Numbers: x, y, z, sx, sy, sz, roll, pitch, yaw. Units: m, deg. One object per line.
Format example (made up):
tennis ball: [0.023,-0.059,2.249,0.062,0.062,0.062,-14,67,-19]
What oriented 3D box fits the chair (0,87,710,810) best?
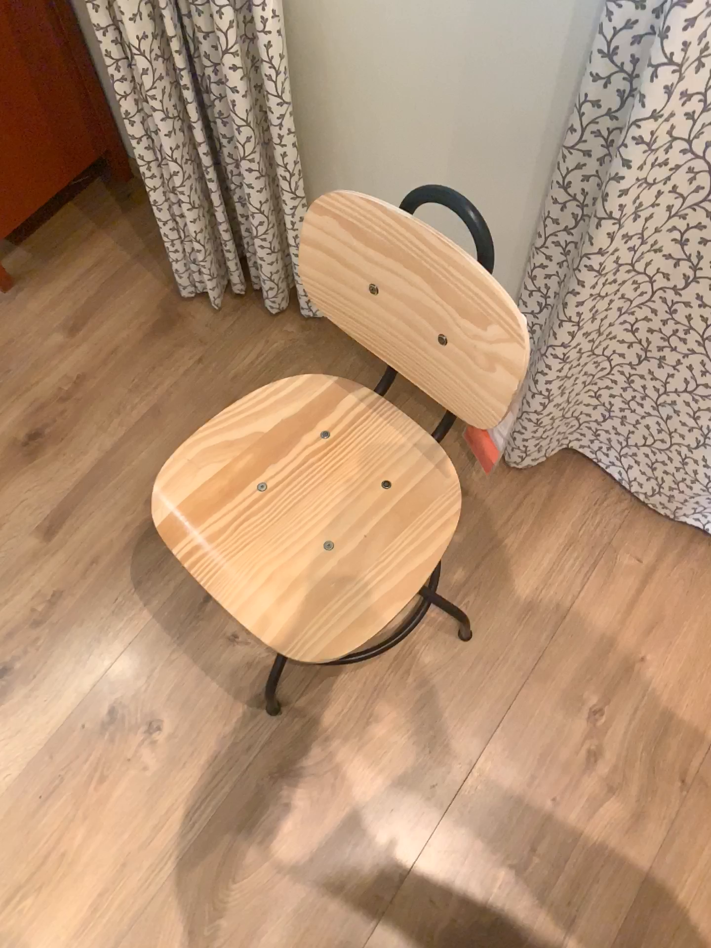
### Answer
chair: [-0.030,0.017,0.981,0.490,0.599,0.630,40,72,18]
